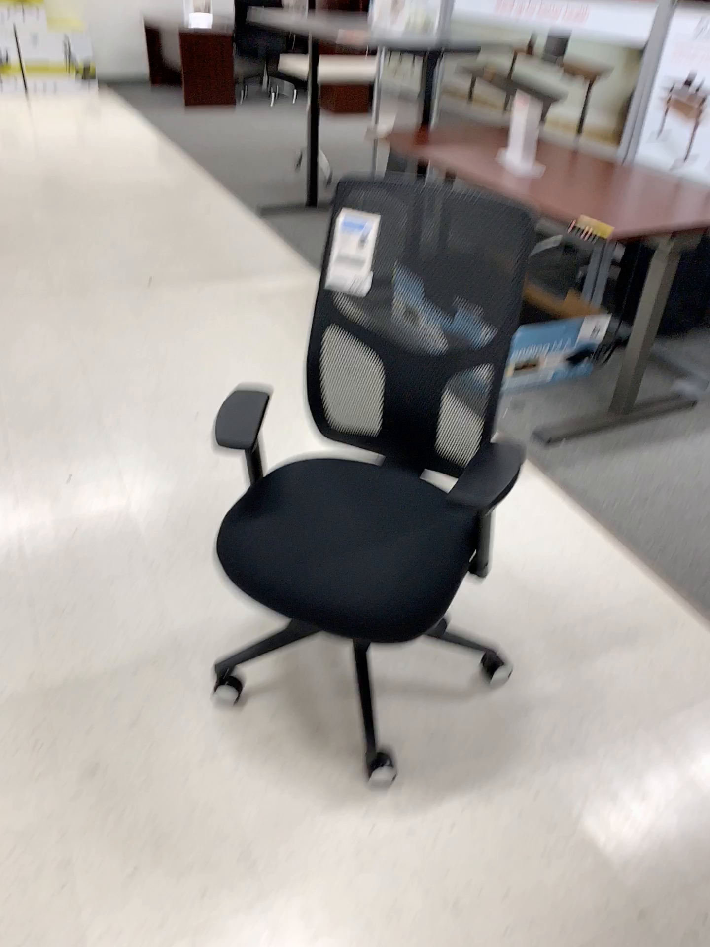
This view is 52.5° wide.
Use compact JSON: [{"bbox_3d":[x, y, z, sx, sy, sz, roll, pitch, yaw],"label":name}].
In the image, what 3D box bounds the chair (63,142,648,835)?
[{"bbox_3d":[0.047,-0.017,1.436,0.700,0.995,0.733,16,37,18],"label":"chair"}]
